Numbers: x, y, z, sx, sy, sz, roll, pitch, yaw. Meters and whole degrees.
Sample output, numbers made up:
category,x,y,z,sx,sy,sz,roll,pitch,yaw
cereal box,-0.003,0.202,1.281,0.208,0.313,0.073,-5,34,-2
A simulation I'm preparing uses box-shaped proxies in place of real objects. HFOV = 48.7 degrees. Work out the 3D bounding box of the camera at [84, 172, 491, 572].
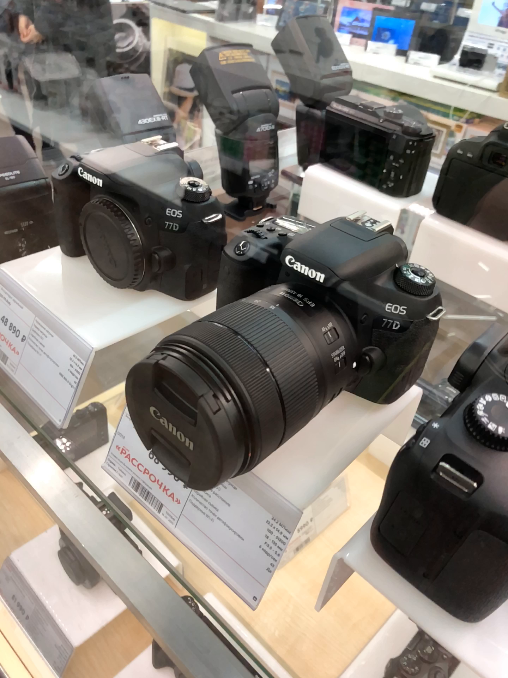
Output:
category,x,y,z,sx,sy,sz,roll,pitch,yaw
camera,0.019,0.001,0.321,0.132,0.119,0.168,32,43,30
